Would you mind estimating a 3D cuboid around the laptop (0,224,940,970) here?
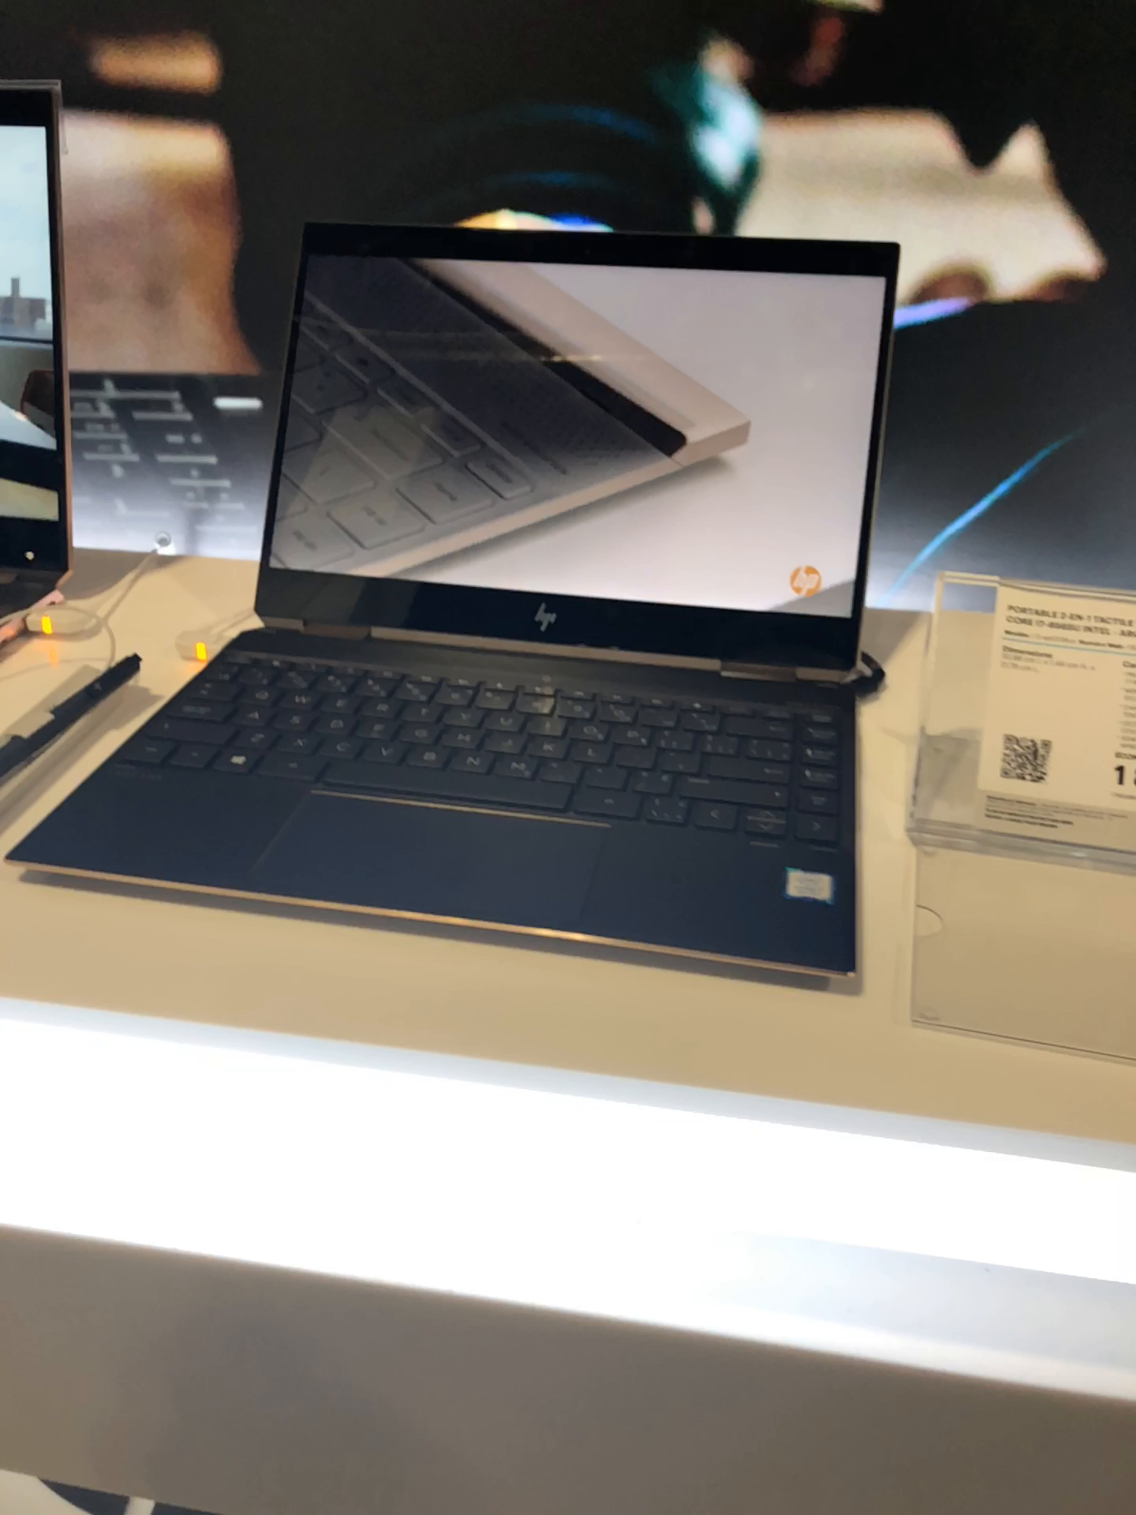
[{"bbox_3d":[-0.020,-0.106,0.531,0.305,0.172,0.347,6,30,10],"label":"laptop"}]
